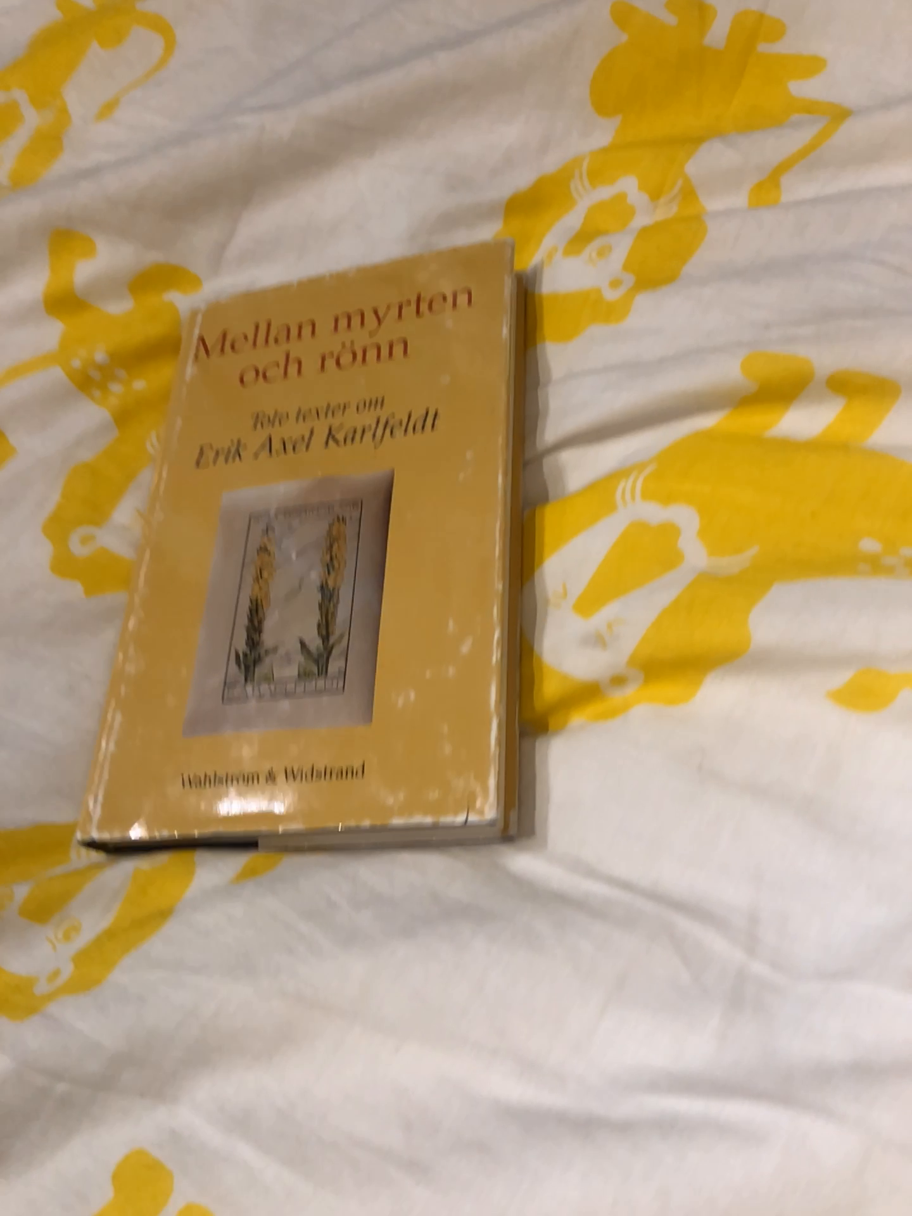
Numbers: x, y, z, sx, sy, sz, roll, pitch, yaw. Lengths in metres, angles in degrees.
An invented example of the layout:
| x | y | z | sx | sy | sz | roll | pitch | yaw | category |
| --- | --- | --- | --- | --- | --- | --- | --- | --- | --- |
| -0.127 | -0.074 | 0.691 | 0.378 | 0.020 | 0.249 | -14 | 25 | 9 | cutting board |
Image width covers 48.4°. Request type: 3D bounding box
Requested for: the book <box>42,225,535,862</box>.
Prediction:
| x | y | z | sx | sy | sz | roll | pitch | yaw | category |
| --- | --- | --- | --- | --- | --- | --- | --- | --- | --- |
| -0.046 | -0.028 | 0.343 | 0.141 | 0.030 | 0.215 | -7 | 60 | 16 | book |
